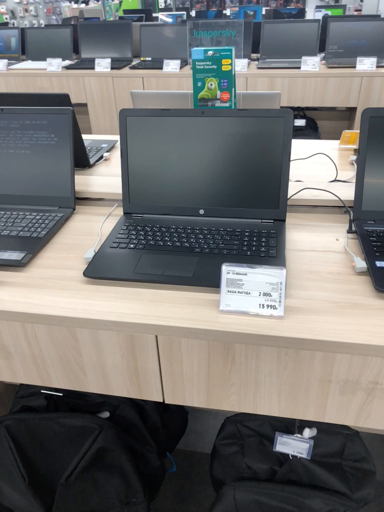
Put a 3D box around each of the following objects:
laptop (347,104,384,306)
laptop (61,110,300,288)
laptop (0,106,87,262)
[{"bbox_3d":[0.520,-0.118,0.756,0.369,0.209,0.335,3,34,7],"label":"laptop"},{"bbox_3d":[0.004,-0.132,0.821,0.366,0.216,0.313,3,33,9],"label":"laptop"},{"bbox_3d":[-0.473,-0.177,0.928,0.331,0.213,0.329,4,33,9],"label":"laptop"}]
